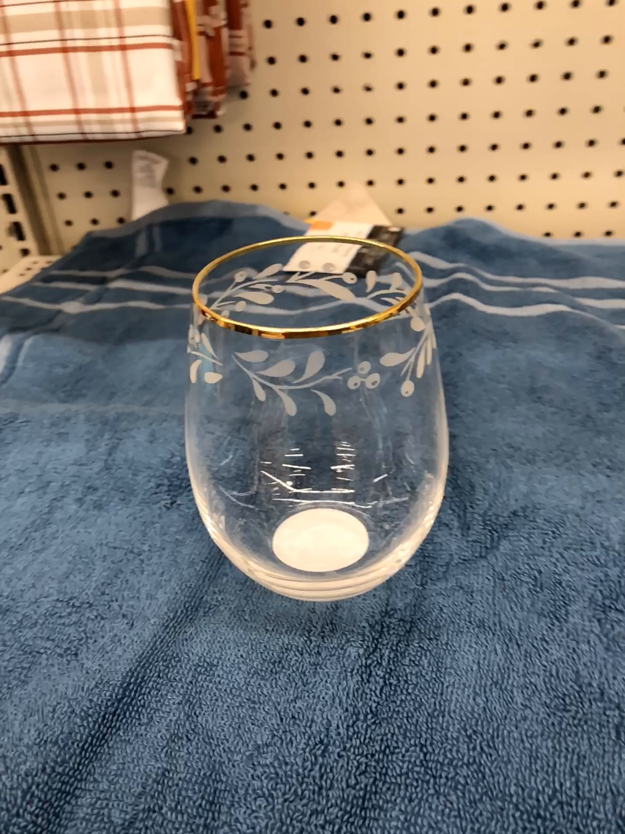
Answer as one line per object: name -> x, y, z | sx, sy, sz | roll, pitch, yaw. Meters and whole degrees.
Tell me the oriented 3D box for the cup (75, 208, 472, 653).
cup -> 0.000, 0.000, 0.219 | 0.090, 0.100, 0.090 | -3, 34, 2
